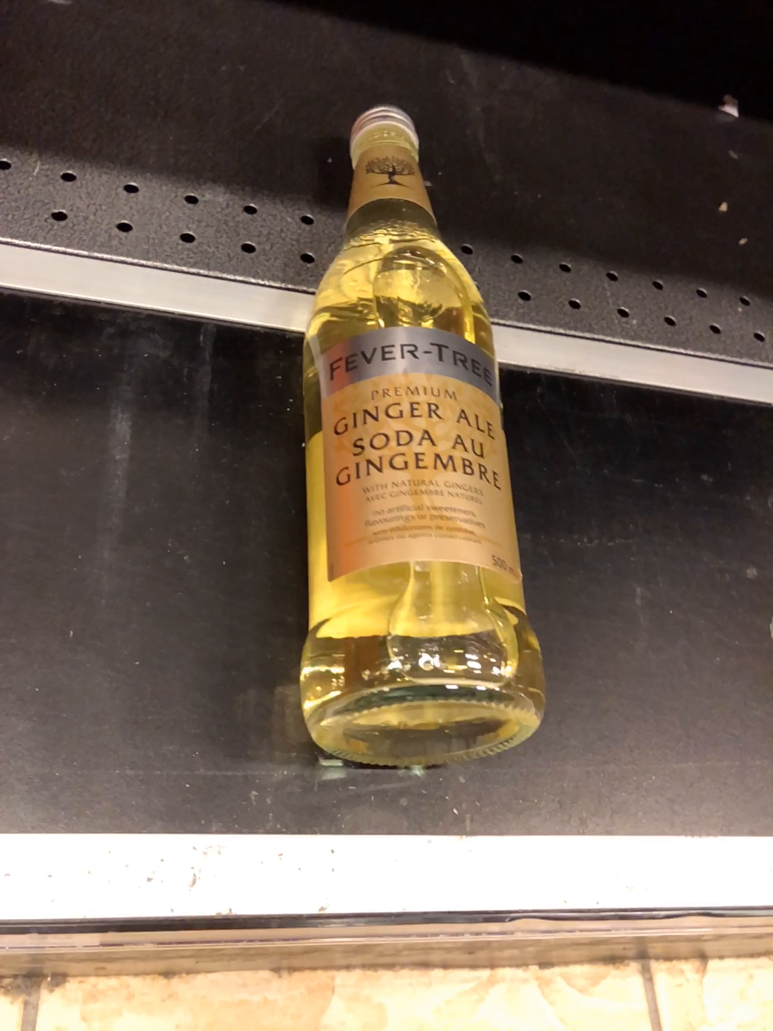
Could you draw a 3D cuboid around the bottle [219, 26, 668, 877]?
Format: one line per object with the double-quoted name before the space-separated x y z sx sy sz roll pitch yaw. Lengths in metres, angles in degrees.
"bottle" 0.001 -0.036 0.293 0.090 0.090 0.280 6 56 -14
